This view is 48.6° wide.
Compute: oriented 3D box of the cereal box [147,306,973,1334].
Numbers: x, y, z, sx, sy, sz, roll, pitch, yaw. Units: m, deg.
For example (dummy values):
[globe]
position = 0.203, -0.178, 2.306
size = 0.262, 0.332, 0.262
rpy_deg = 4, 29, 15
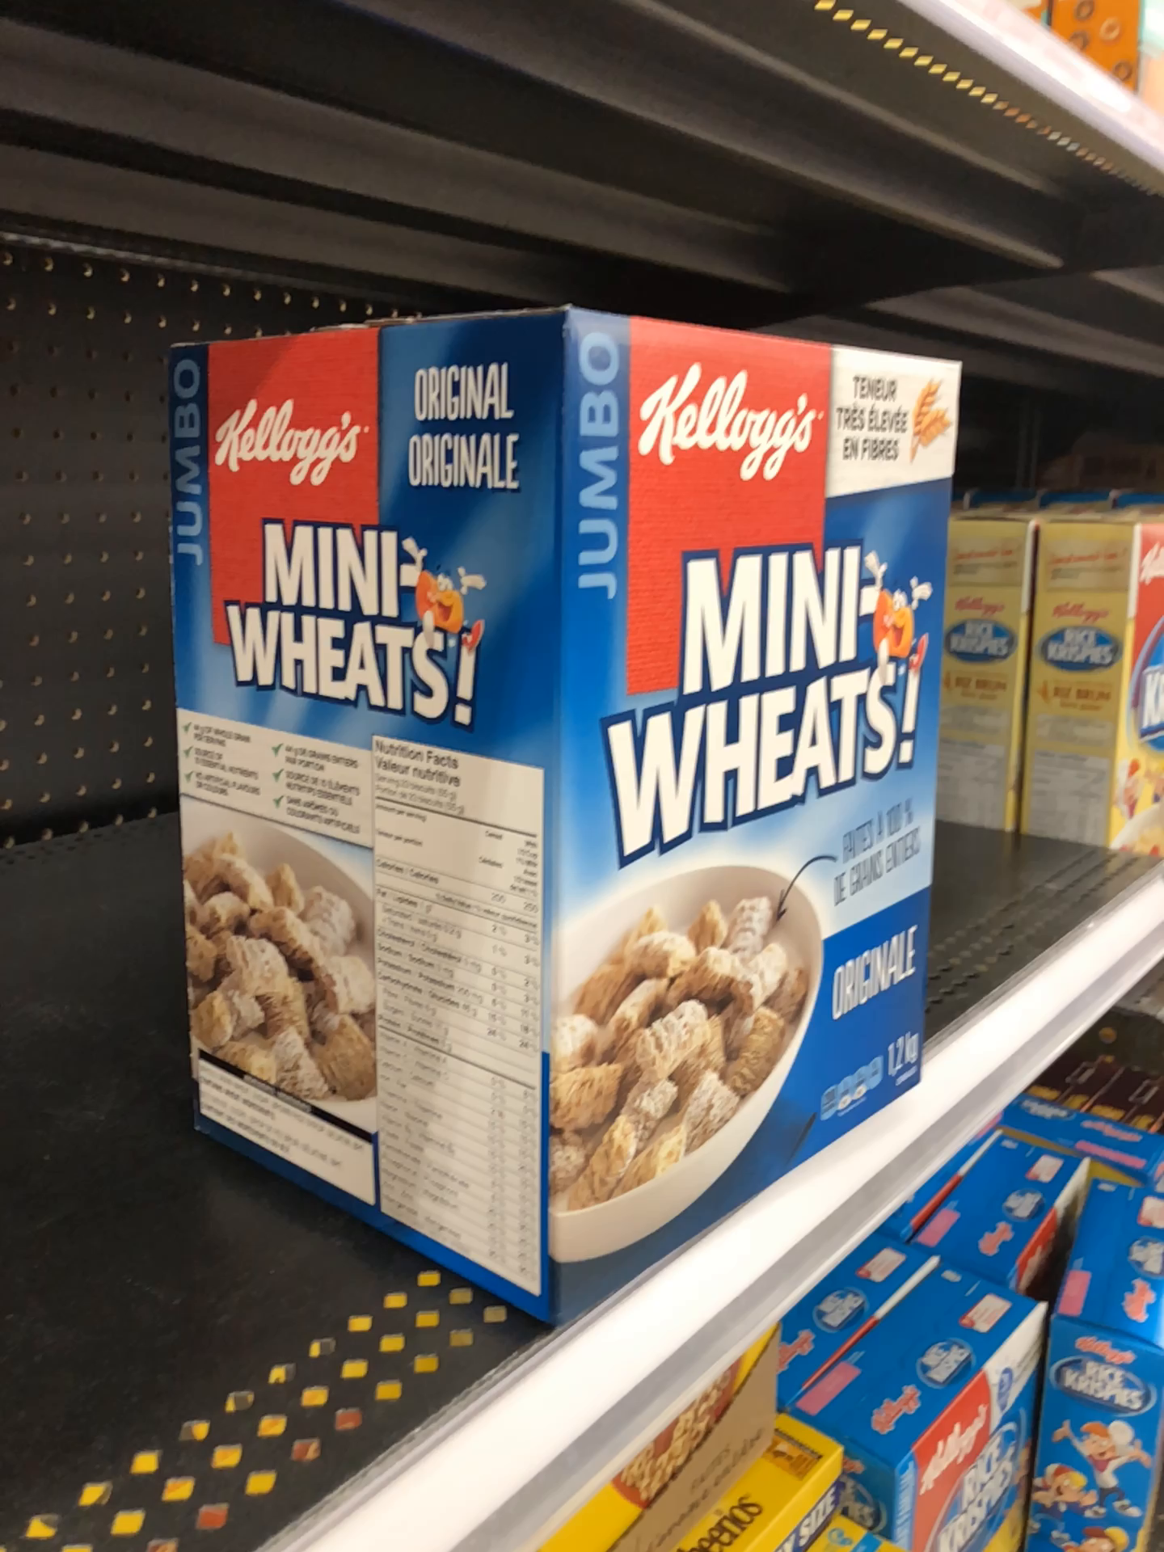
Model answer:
[cereal box]
position = -0.002, -0.009, 0.431
size = 0.170, 0.249, 0.200
rpy_deg = 11, 16, 39
